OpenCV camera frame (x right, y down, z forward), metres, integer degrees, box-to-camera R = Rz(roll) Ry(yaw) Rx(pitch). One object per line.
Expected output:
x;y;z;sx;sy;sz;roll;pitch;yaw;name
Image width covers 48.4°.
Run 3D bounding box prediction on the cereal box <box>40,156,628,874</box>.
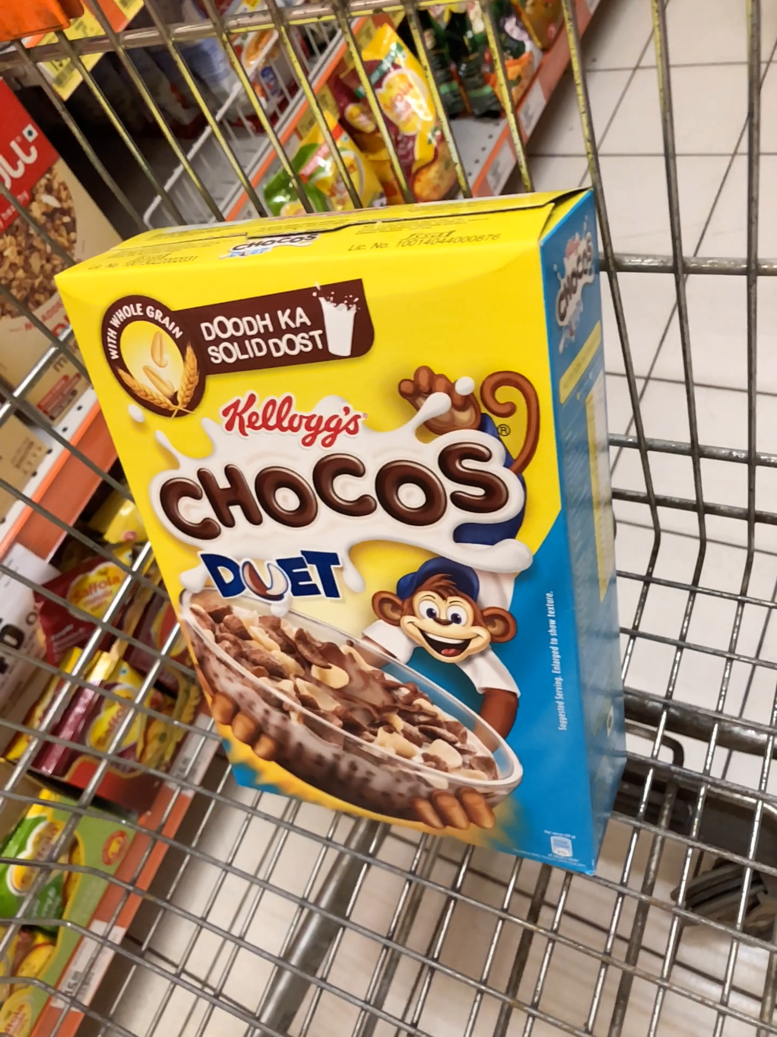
-0.005;0.007;0.351;0.180;0.259;0.070;5;33;26;cereal box
